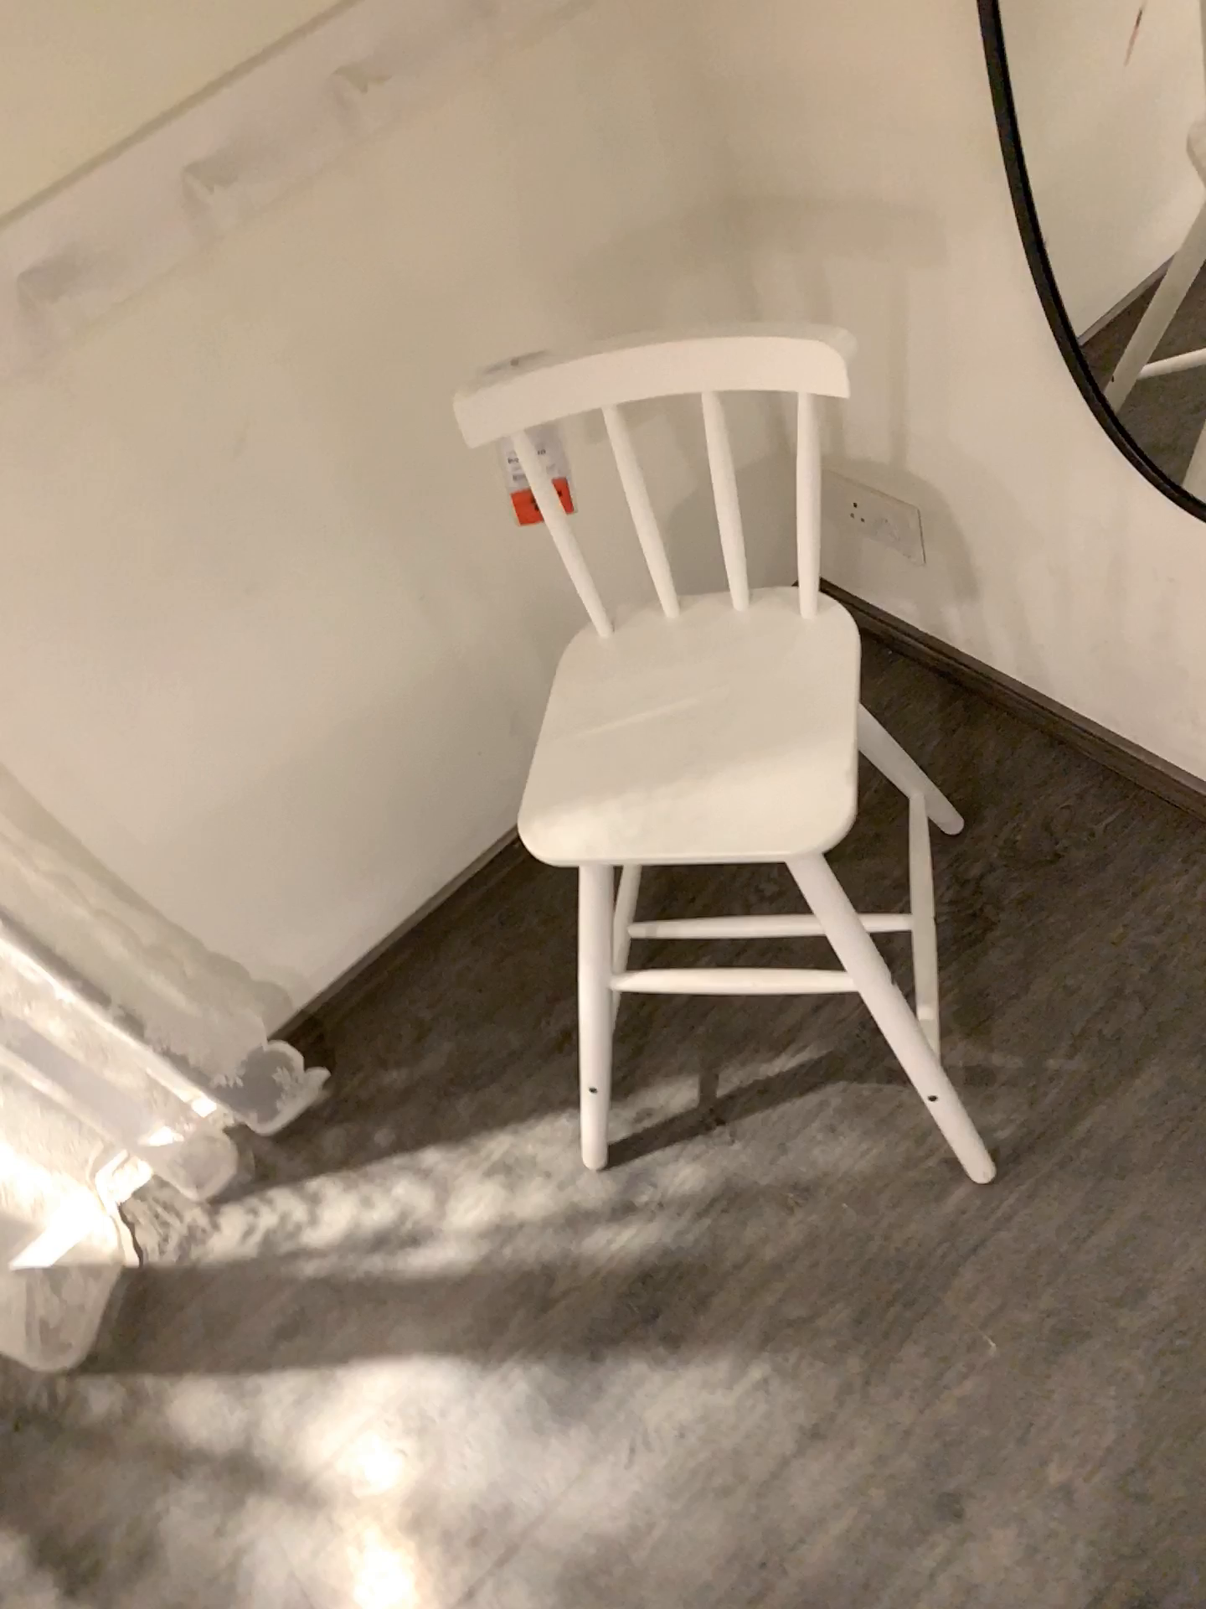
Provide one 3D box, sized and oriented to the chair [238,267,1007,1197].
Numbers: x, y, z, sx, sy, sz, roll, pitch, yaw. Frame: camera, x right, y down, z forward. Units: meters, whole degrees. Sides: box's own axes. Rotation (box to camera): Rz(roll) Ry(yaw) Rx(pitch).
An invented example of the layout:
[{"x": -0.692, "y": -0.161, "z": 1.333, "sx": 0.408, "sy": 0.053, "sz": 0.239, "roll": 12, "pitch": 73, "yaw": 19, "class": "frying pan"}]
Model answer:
[{"x": 0.101, "y": -0.004, "z": 1.105, "sx": 0.451, "sy": 0.657, "sz": 0.481, "roll": -4, "pitch": 53, "yaw": 17, "class": "chair"}]
